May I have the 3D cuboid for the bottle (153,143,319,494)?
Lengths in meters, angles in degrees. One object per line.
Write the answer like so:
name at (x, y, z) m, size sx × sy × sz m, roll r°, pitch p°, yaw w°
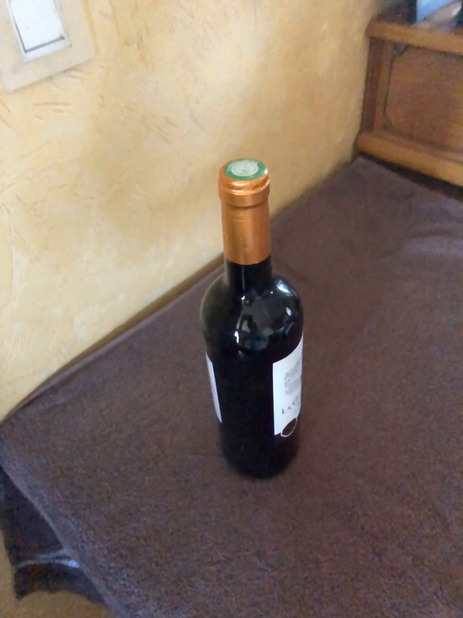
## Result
bottle at (0.016, 0.032, 0.392) m, size 0.080 × 0.298 × 0.081 m, roll -3°, pitch 46°, yaw 3°
